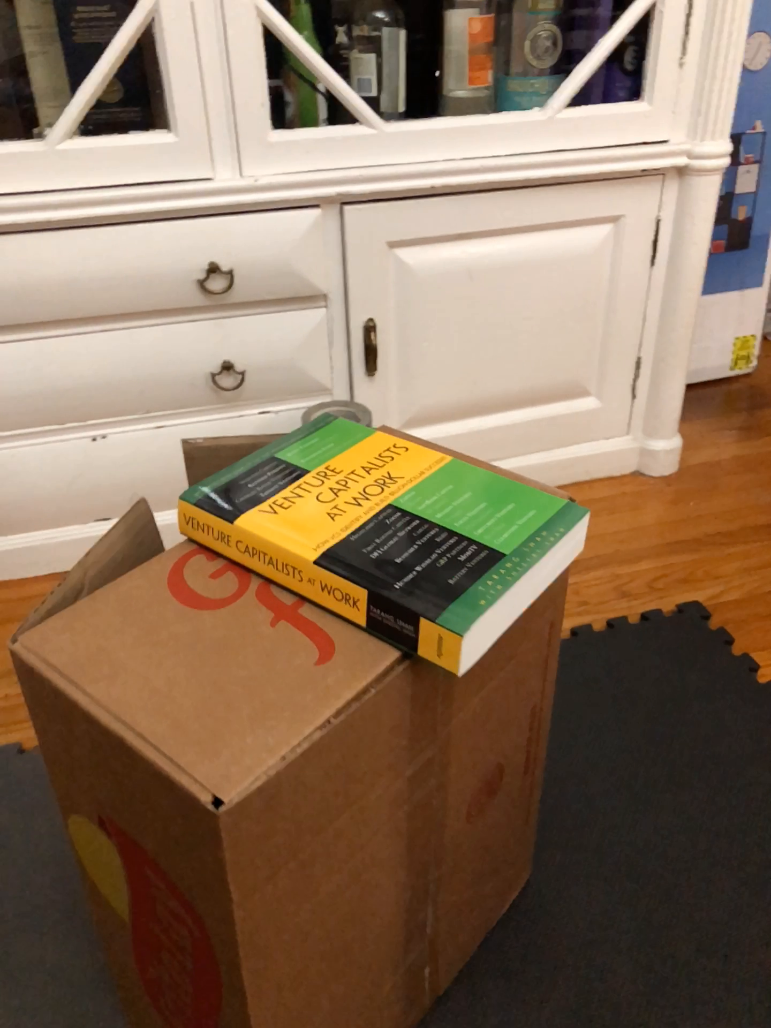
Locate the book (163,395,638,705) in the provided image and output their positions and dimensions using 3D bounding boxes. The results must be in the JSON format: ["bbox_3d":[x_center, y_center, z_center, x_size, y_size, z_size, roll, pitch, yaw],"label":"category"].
[{"bbox_3d":[0.006,0.004,0.554,0.261,0.040,0.161,23,40,31],"label":"book"}]
